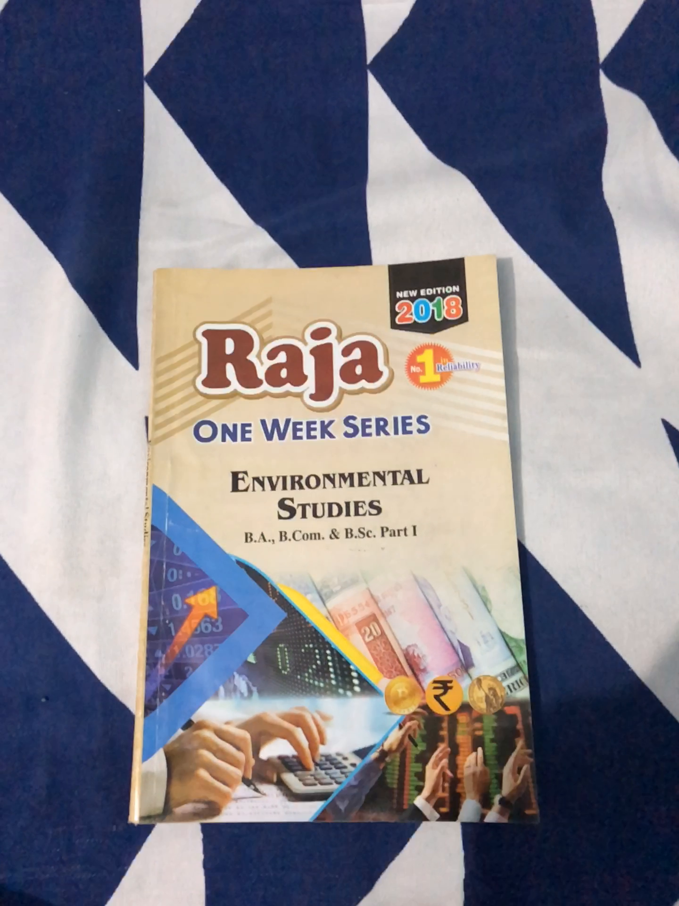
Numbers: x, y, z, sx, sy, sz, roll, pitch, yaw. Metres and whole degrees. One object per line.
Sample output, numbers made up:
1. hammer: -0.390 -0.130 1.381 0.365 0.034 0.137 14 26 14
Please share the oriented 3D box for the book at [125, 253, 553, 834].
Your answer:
1. book: -0.003 0.027 0.275 0.140 0.010 0.200 -2 77 6
